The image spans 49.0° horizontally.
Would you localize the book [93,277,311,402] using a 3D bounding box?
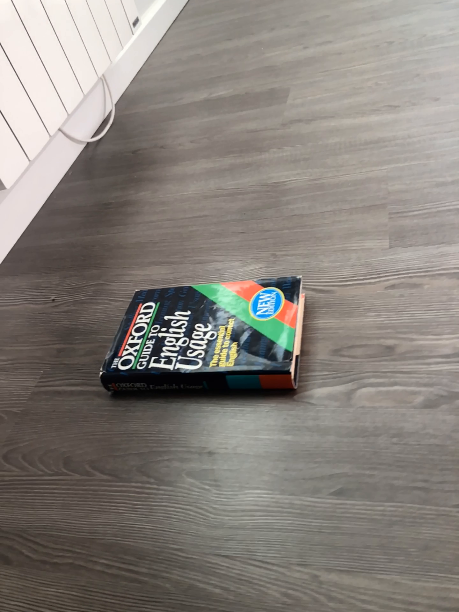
[{"bbox_3d":[-0.027,0.039,0.592,0.229,0.035,0.151,-4,45,18],"label":"book"}]
